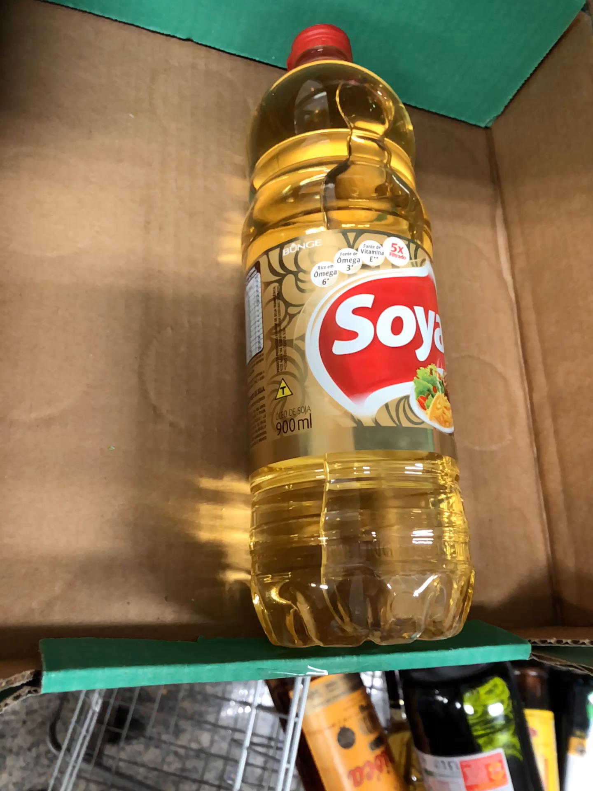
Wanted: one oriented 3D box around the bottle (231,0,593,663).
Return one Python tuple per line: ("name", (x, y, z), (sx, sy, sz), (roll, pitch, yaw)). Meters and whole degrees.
("bottle", (0.029, -0.031, 0.218), (0.080, 0.070, 0.210), (5, 73, -24))
